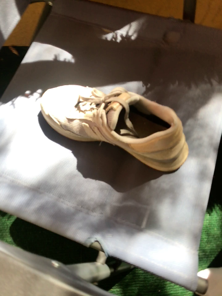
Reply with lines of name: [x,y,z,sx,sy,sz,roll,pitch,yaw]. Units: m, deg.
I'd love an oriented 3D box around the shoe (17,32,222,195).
shoe: [0.014,-0.050,0.408,0.287,0.104,0.125,29,75,3]
